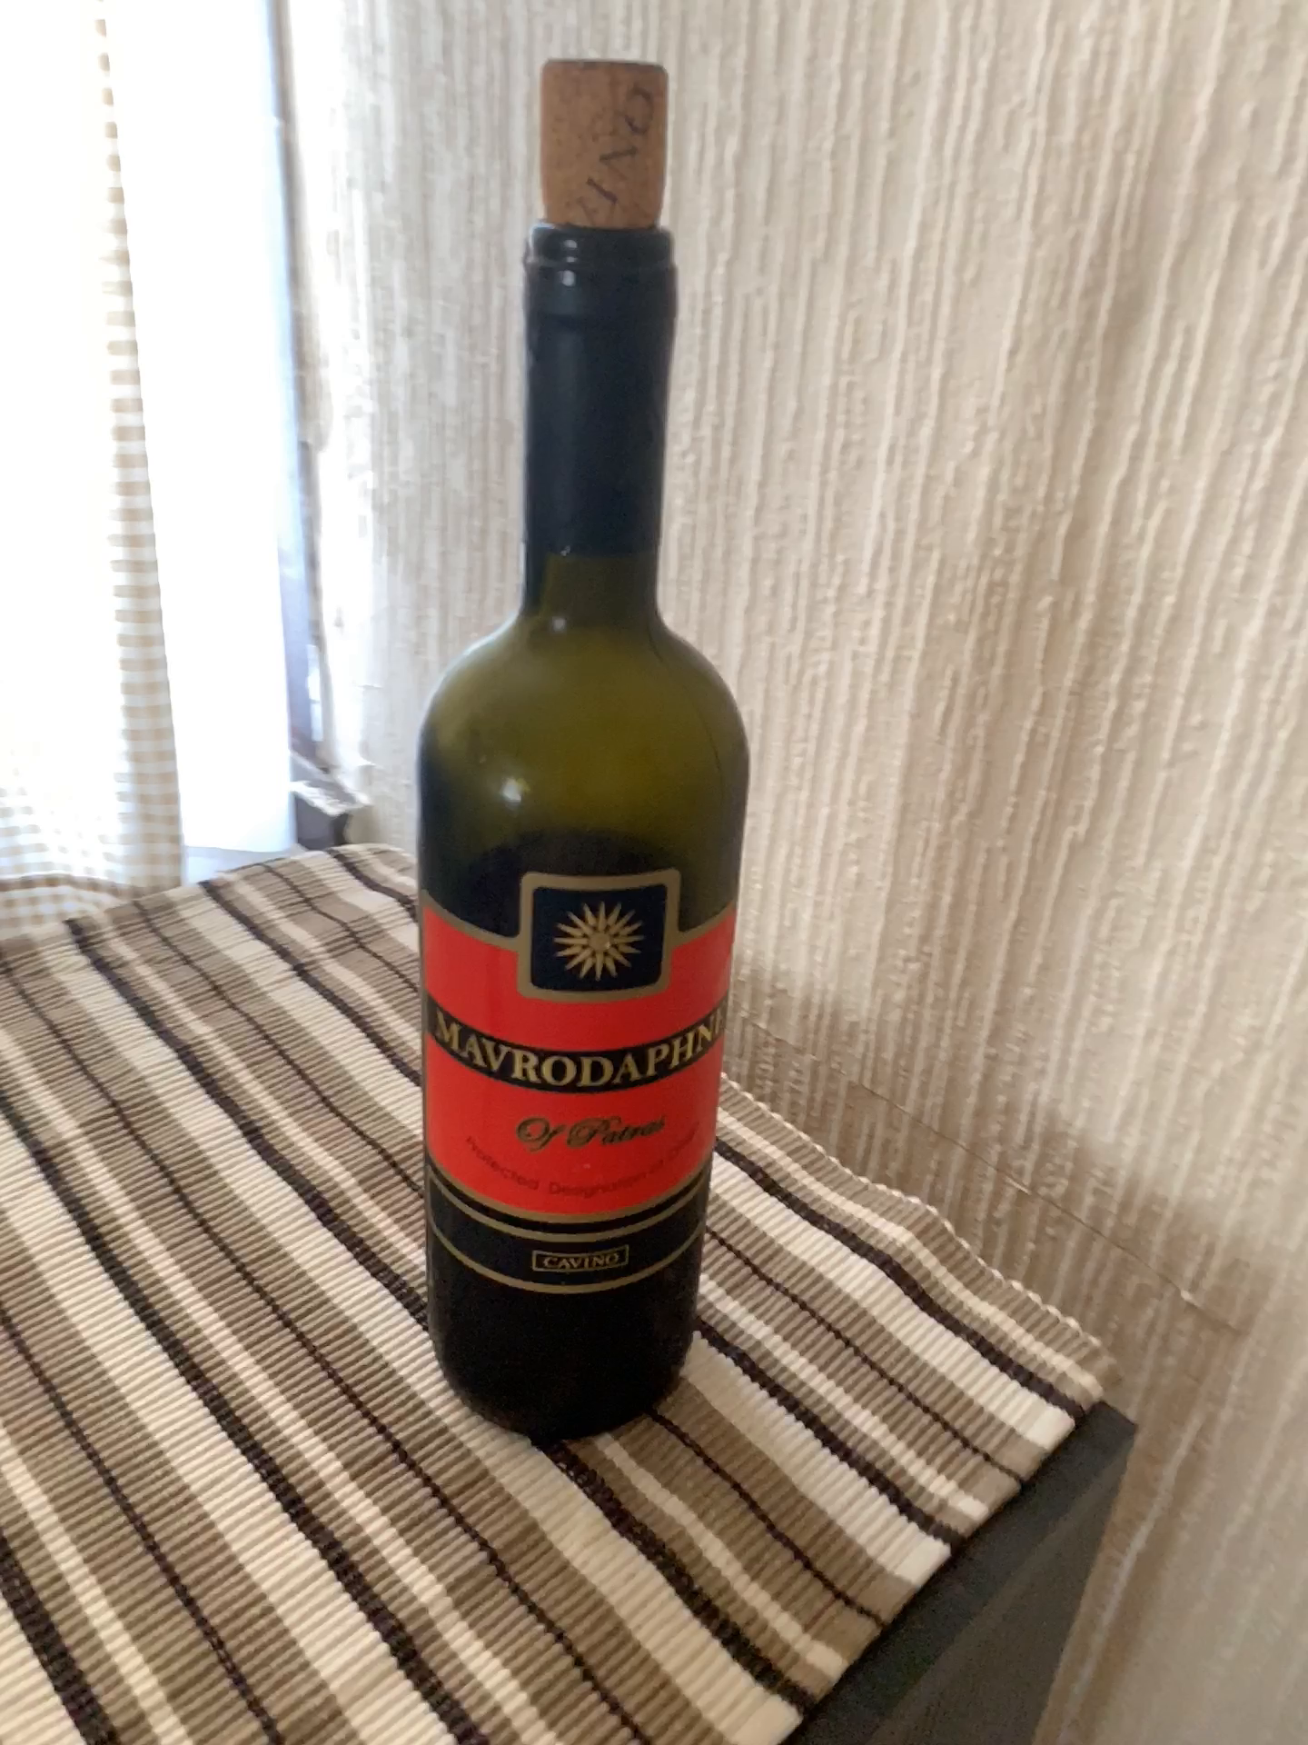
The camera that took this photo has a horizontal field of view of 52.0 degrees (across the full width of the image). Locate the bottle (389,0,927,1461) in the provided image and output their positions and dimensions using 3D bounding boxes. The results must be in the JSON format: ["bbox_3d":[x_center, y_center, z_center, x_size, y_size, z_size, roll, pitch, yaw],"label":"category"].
[{"bbox_3d":[-0.013,-0.008,0.309,0.080,0.317,0.081,3,29,-2],"label":"bottle"}]
